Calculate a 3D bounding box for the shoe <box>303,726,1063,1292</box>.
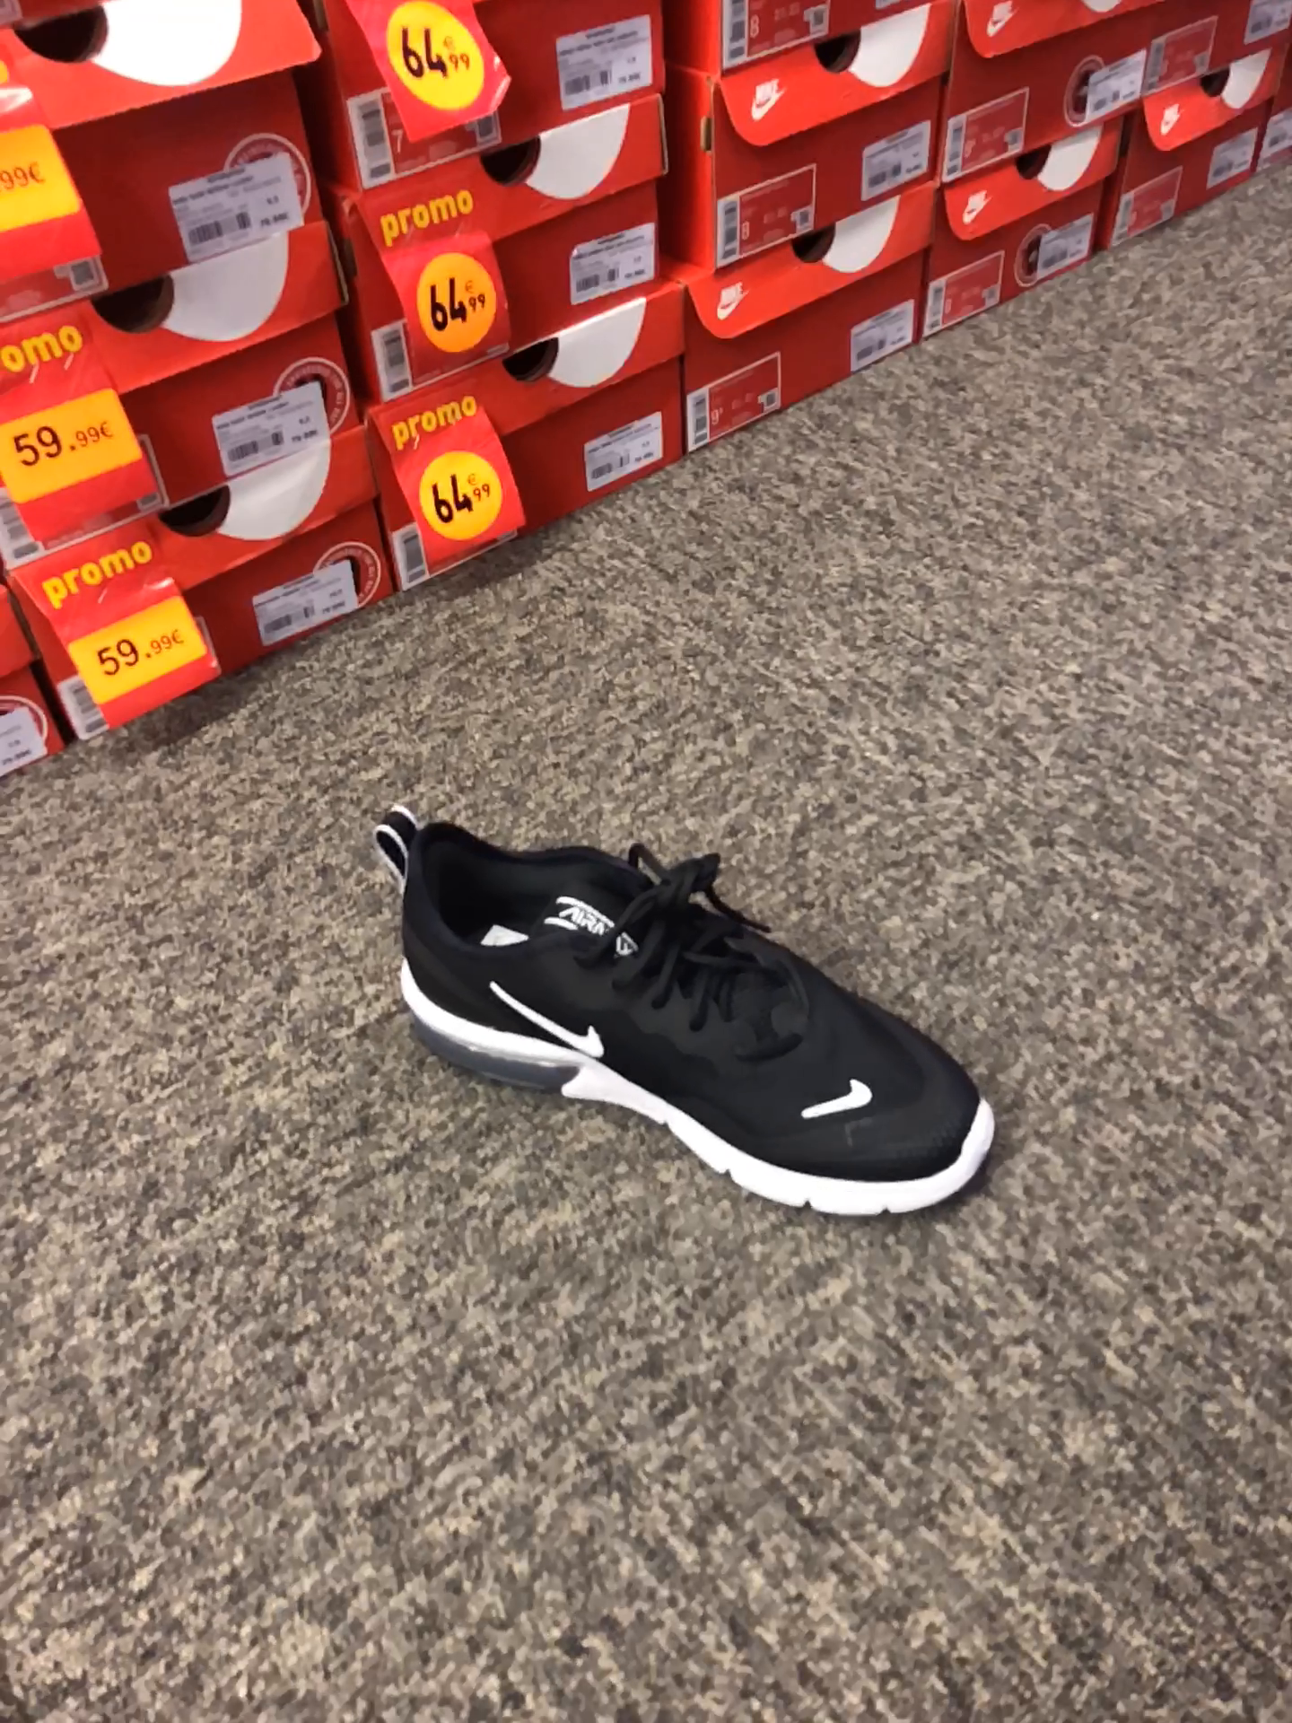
[{"bbox_3d":[0.013,0.051,0.549,0.256,0.109,0.101,17,48,16],"label":"shoe"}]
